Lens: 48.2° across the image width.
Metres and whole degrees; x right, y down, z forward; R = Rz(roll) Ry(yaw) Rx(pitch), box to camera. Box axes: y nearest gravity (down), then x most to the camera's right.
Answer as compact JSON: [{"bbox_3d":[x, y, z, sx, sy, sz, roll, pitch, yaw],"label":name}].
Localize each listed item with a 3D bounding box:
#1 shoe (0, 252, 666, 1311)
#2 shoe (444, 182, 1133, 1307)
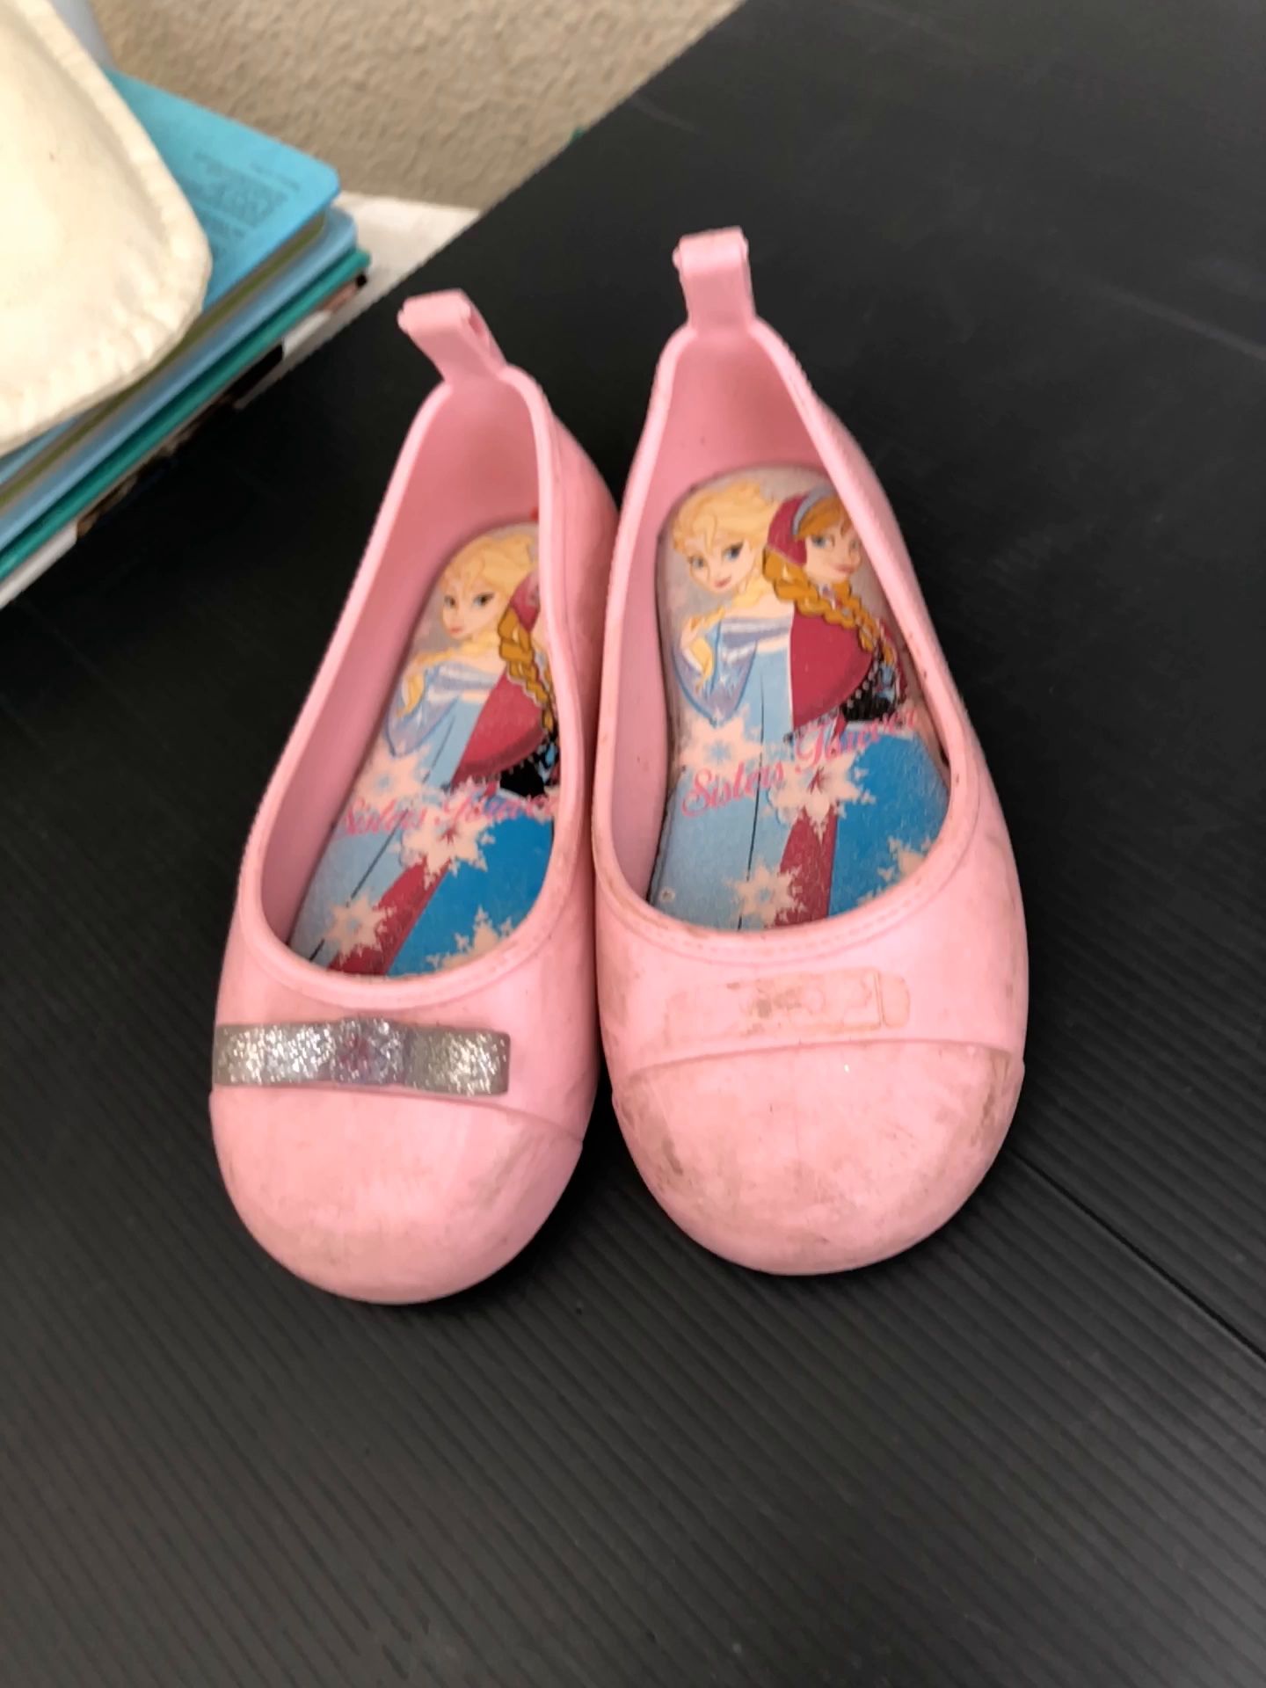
[{"bbox_3d":[-0.046,-0.013,0.240,0.077,0.070,0.160,2,65,11],"label":"shoe"},{"bbox_3d":[0.022,-0.015,0.225,0.077,0.070,0.160,-4,64,9],"label":"shoe"}]
